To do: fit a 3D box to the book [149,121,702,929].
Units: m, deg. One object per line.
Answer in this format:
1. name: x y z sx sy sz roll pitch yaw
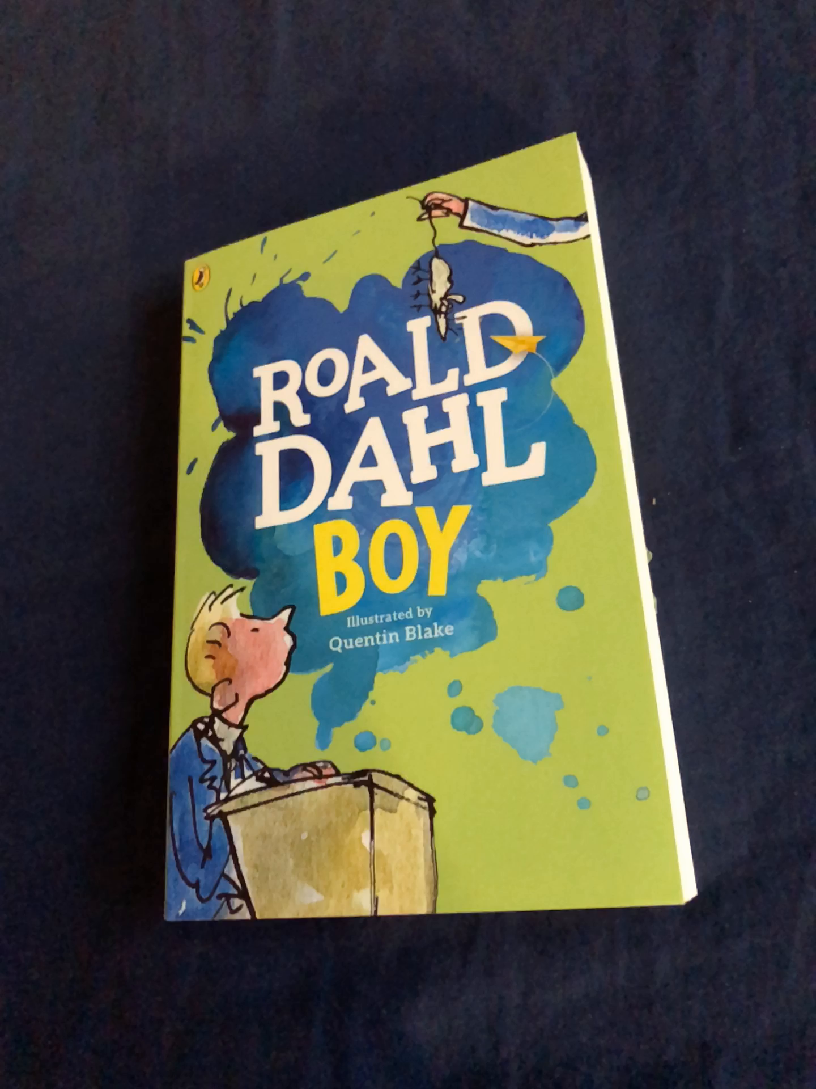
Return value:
1. book: -0.004 -0.005 0.236 0.126 0.027 0.189 -9 72 19
